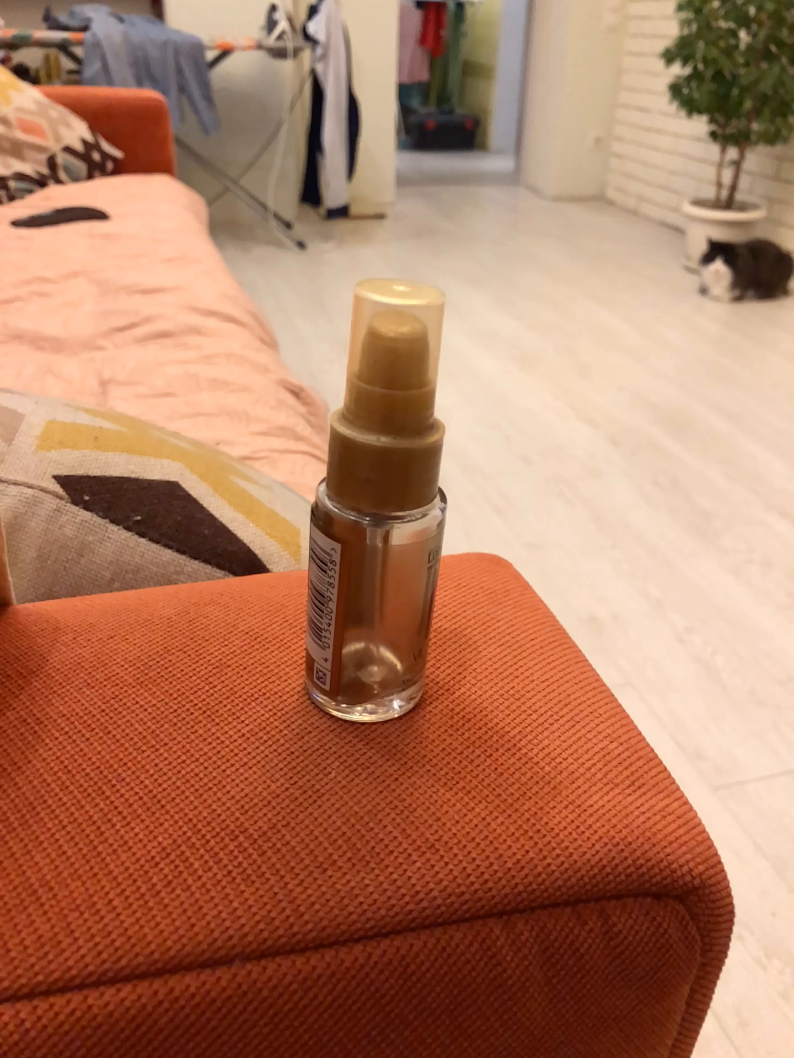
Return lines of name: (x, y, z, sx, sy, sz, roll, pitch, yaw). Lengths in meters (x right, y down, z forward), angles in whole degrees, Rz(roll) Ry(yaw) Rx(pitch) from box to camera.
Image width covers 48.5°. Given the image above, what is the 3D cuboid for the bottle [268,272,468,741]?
bottle: (-0.007, -0.004, 0.217, 0.033, 0.106, 0.035, 1, 29, -1)
